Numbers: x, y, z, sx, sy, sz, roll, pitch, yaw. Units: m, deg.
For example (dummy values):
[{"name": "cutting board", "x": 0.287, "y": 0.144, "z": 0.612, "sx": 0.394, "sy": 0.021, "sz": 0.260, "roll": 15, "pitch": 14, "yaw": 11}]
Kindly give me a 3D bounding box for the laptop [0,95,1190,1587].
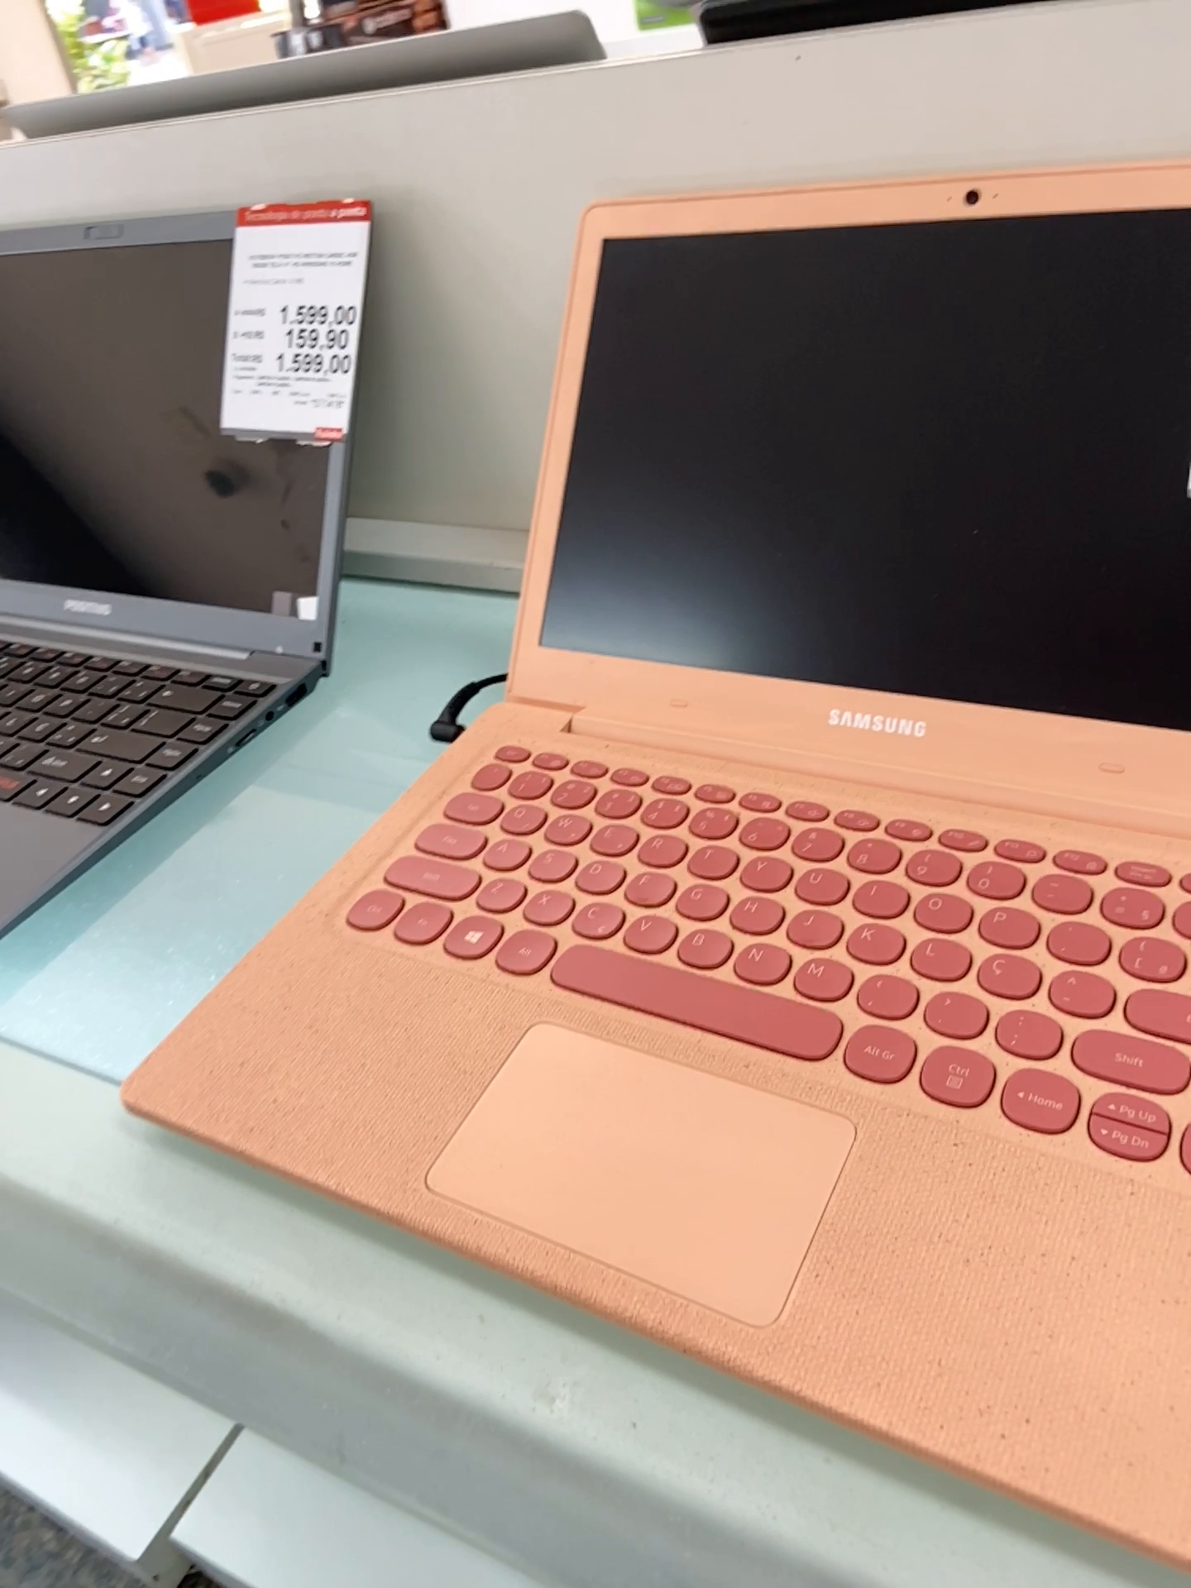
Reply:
[{"name": "laptop", "x": 0.067, "y": -0.052, "z": 0.366, "sx": 0.330, "sy": 0.160, "sz": 0.360, "roll": 11, "pitch": 43, "yaw": 30}]
